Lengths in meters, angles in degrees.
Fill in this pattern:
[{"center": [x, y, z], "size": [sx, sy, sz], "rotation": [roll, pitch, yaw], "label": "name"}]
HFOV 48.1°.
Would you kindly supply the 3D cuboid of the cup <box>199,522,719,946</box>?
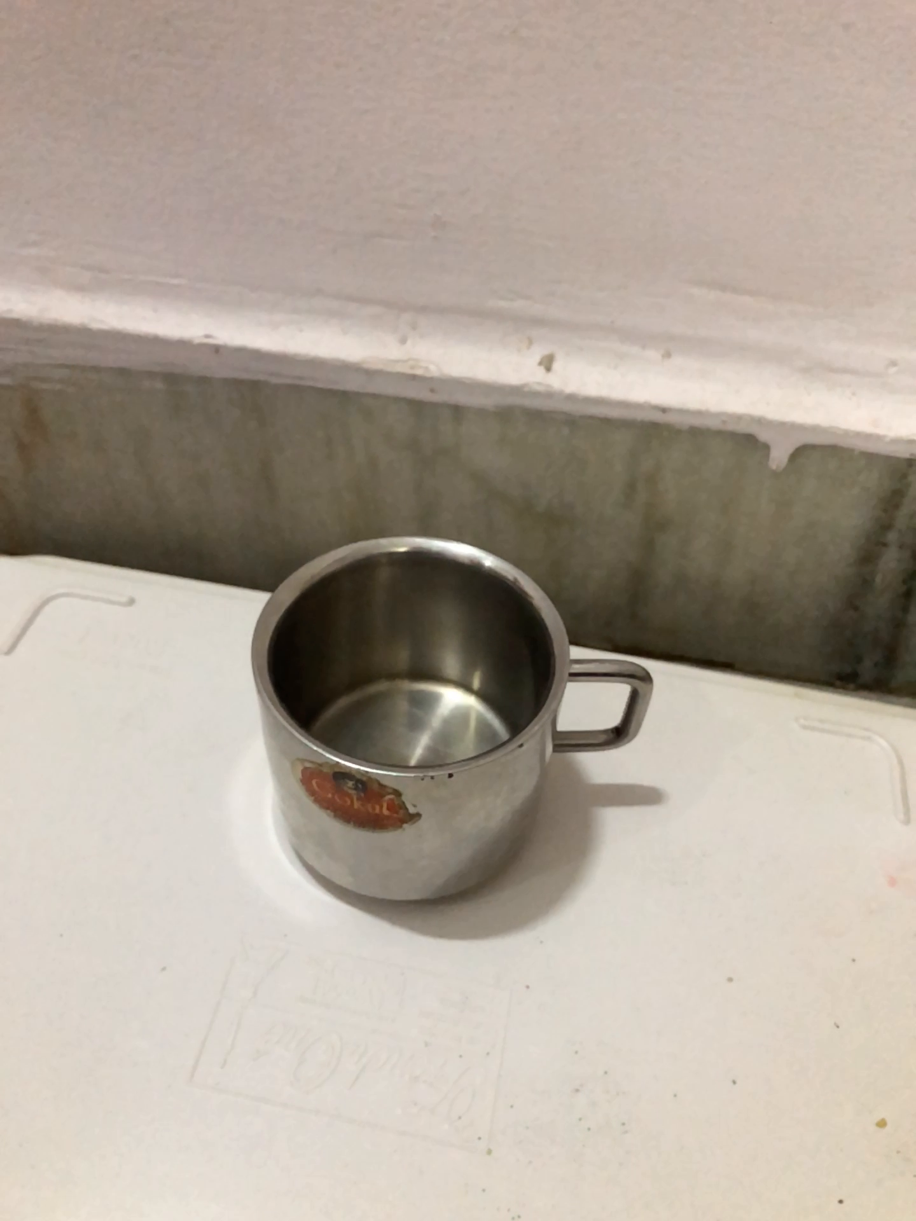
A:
[{"center": [0.001, 0.027, 0.243], "size": [0.100, 0.050, 0.080], "rotation": [3, 45, -1], "label": "cup"}]
